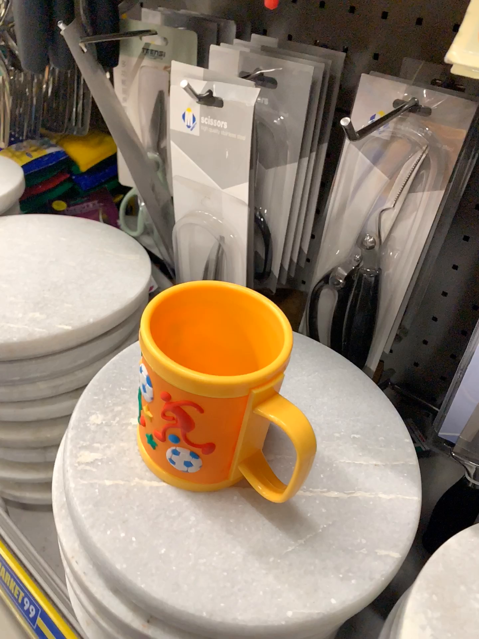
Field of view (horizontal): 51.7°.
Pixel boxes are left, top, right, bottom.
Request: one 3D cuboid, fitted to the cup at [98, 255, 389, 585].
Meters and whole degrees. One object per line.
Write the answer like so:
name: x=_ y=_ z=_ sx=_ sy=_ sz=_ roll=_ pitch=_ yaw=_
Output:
cup: x=-0.004 y=0.044 z=0.257 sx=0.080 sy=0.100 sz=0.110 roll=-28 pitch=48 yaw=-36
